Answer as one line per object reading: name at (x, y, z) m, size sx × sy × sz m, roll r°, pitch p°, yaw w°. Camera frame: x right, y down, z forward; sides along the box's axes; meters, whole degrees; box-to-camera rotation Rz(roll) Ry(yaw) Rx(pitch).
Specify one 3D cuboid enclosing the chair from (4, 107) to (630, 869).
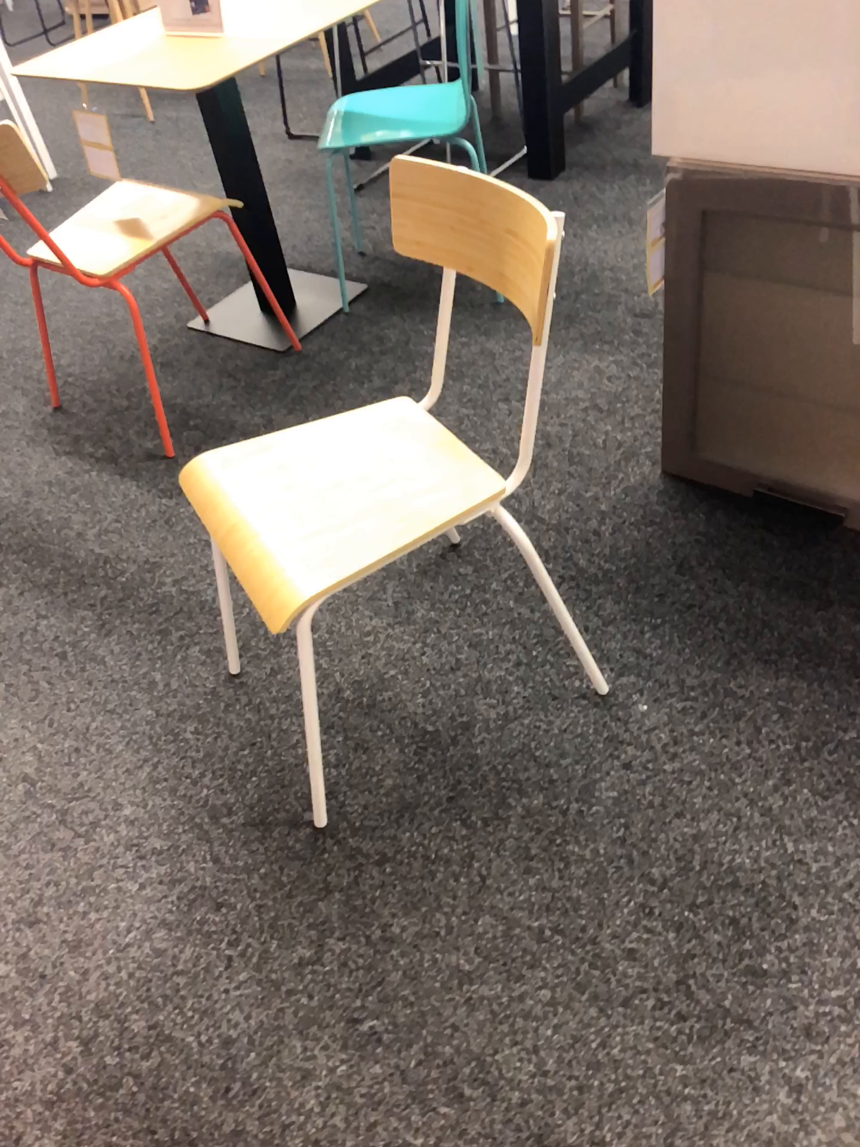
chair at (-0.111, -0.127, 1.402) m, size 0.581 × 0.816 × 0.542 m, roll -28°, pitch 44°, yaw -17°
